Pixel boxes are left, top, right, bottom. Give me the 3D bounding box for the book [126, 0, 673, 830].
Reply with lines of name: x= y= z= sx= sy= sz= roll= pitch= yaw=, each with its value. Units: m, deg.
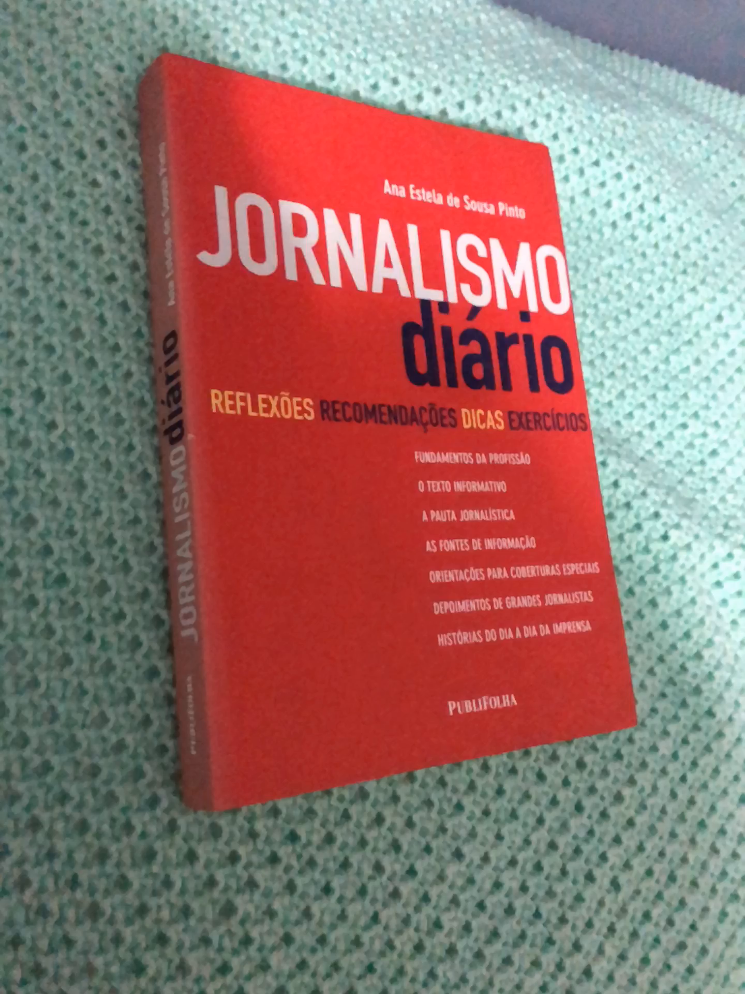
book: x=0.008 y=-0.038 z=0.275 sx=0.160 sy=0.030 sz=0.250 roll=0 pitch=78 yaw=-26
